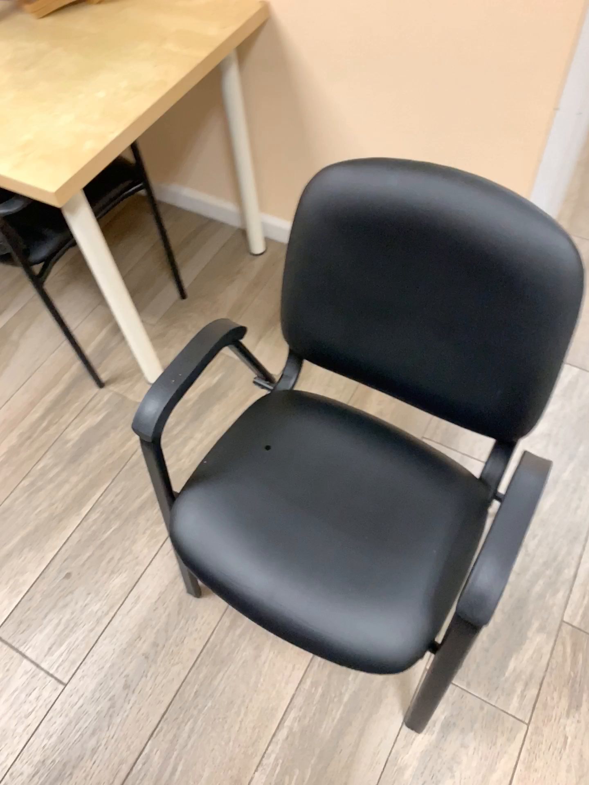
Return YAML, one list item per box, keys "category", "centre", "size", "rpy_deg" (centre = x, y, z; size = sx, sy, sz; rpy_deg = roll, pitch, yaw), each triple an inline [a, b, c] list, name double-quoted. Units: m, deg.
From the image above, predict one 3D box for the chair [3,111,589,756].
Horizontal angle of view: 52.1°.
- category: "chair"
  centre: [0.118, 0.118, 1.049]
  size: [0.606, 0.798, 0.625]
  rpy_deg: [24, 61, 19]
